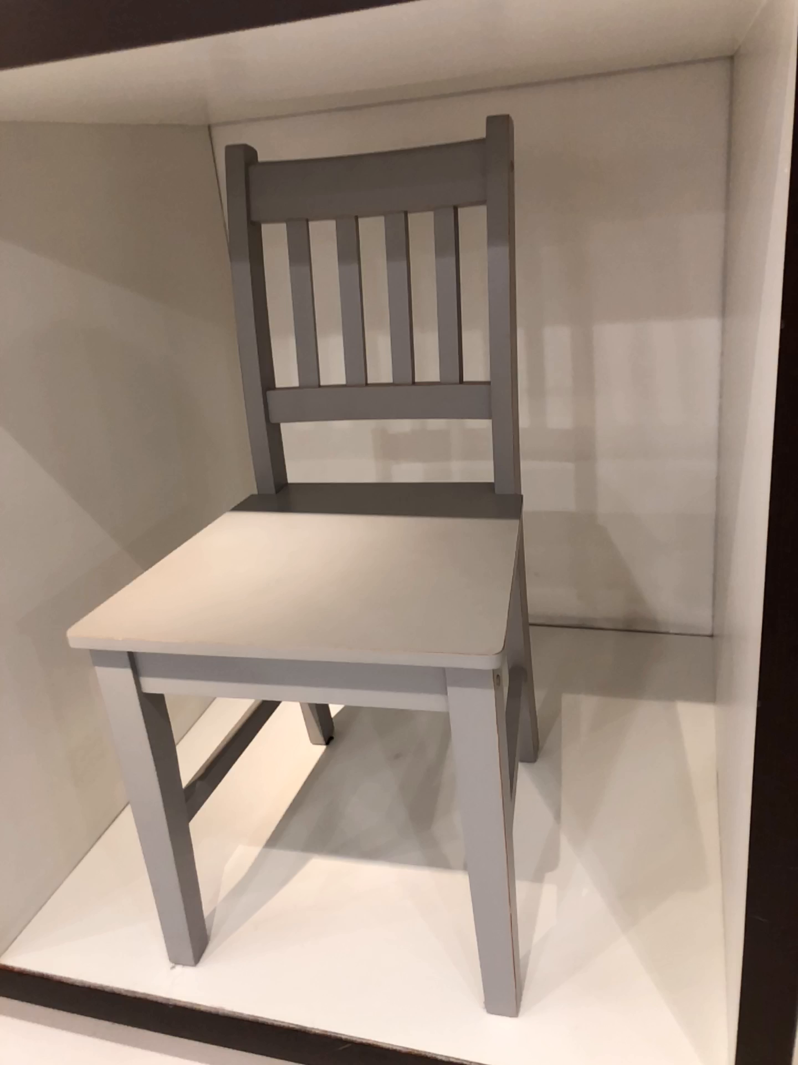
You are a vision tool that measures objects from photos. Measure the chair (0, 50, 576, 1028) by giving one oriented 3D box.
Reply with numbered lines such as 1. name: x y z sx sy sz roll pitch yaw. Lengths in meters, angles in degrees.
1. chair: -0.058 -0.024 1.032 0.460 0.864 0.584 1 23 16
